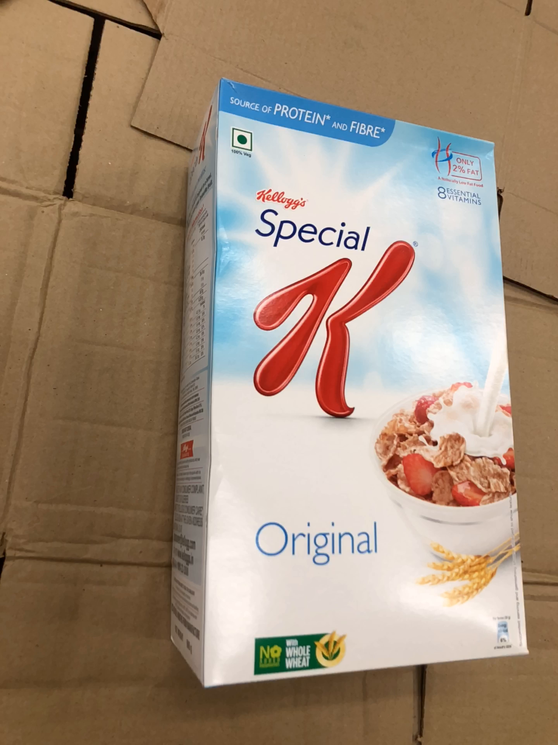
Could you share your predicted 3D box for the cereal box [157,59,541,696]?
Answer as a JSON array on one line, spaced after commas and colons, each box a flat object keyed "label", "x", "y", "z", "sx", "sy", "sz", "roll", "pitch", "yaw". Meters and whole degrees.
[{"label": "cereal box", "x": 0.034, "y": 0.003, "z": 0.361, "sx": 0.181, "sy": 0.100, "sz": 0.300, "roll": 5, "pitch": 78, "yaw": -19}]
